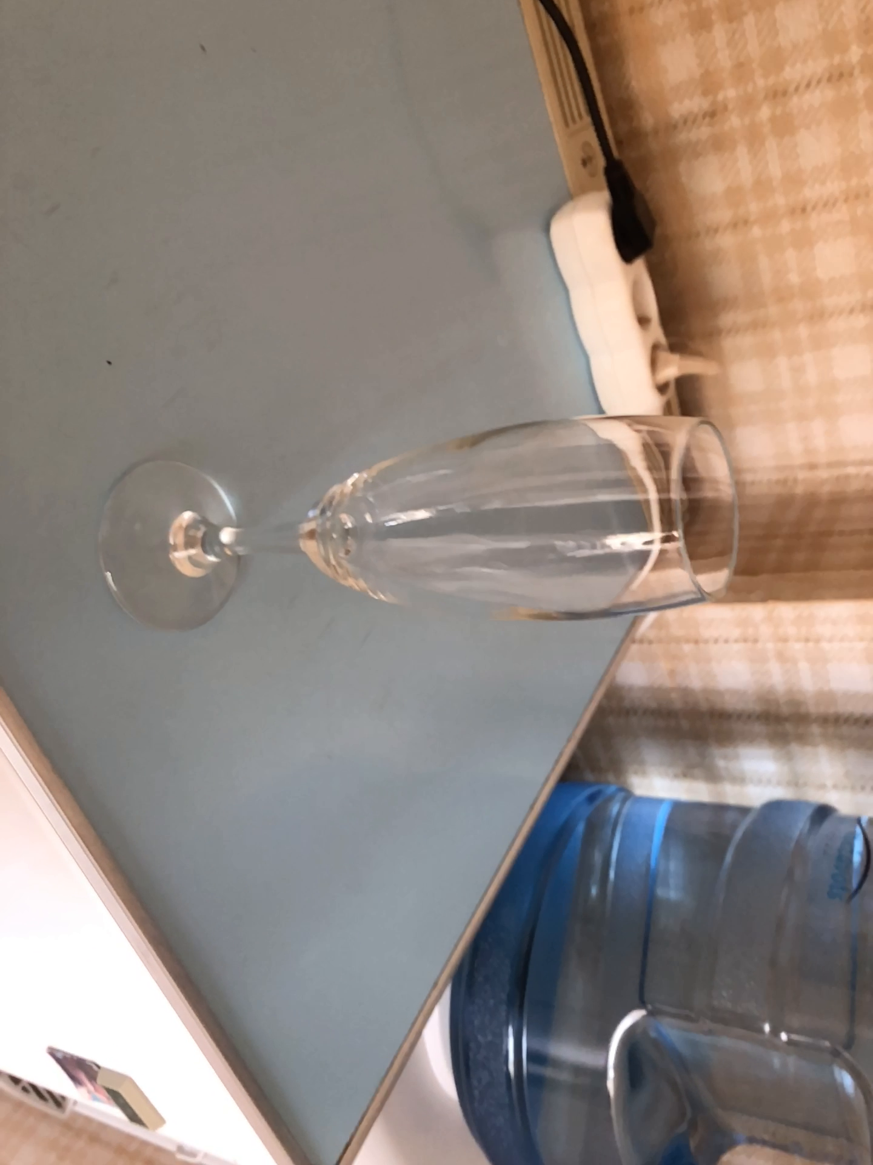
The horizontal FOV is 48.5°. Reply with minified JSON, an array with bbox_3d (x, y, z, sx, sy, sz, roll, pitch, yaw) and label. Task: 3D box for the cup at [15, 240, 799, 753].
[{"bbox_3d":[-0.010,-0.019,0.293,0.090,0.199,0.090,7,82,-56],"label":"cup"}]
